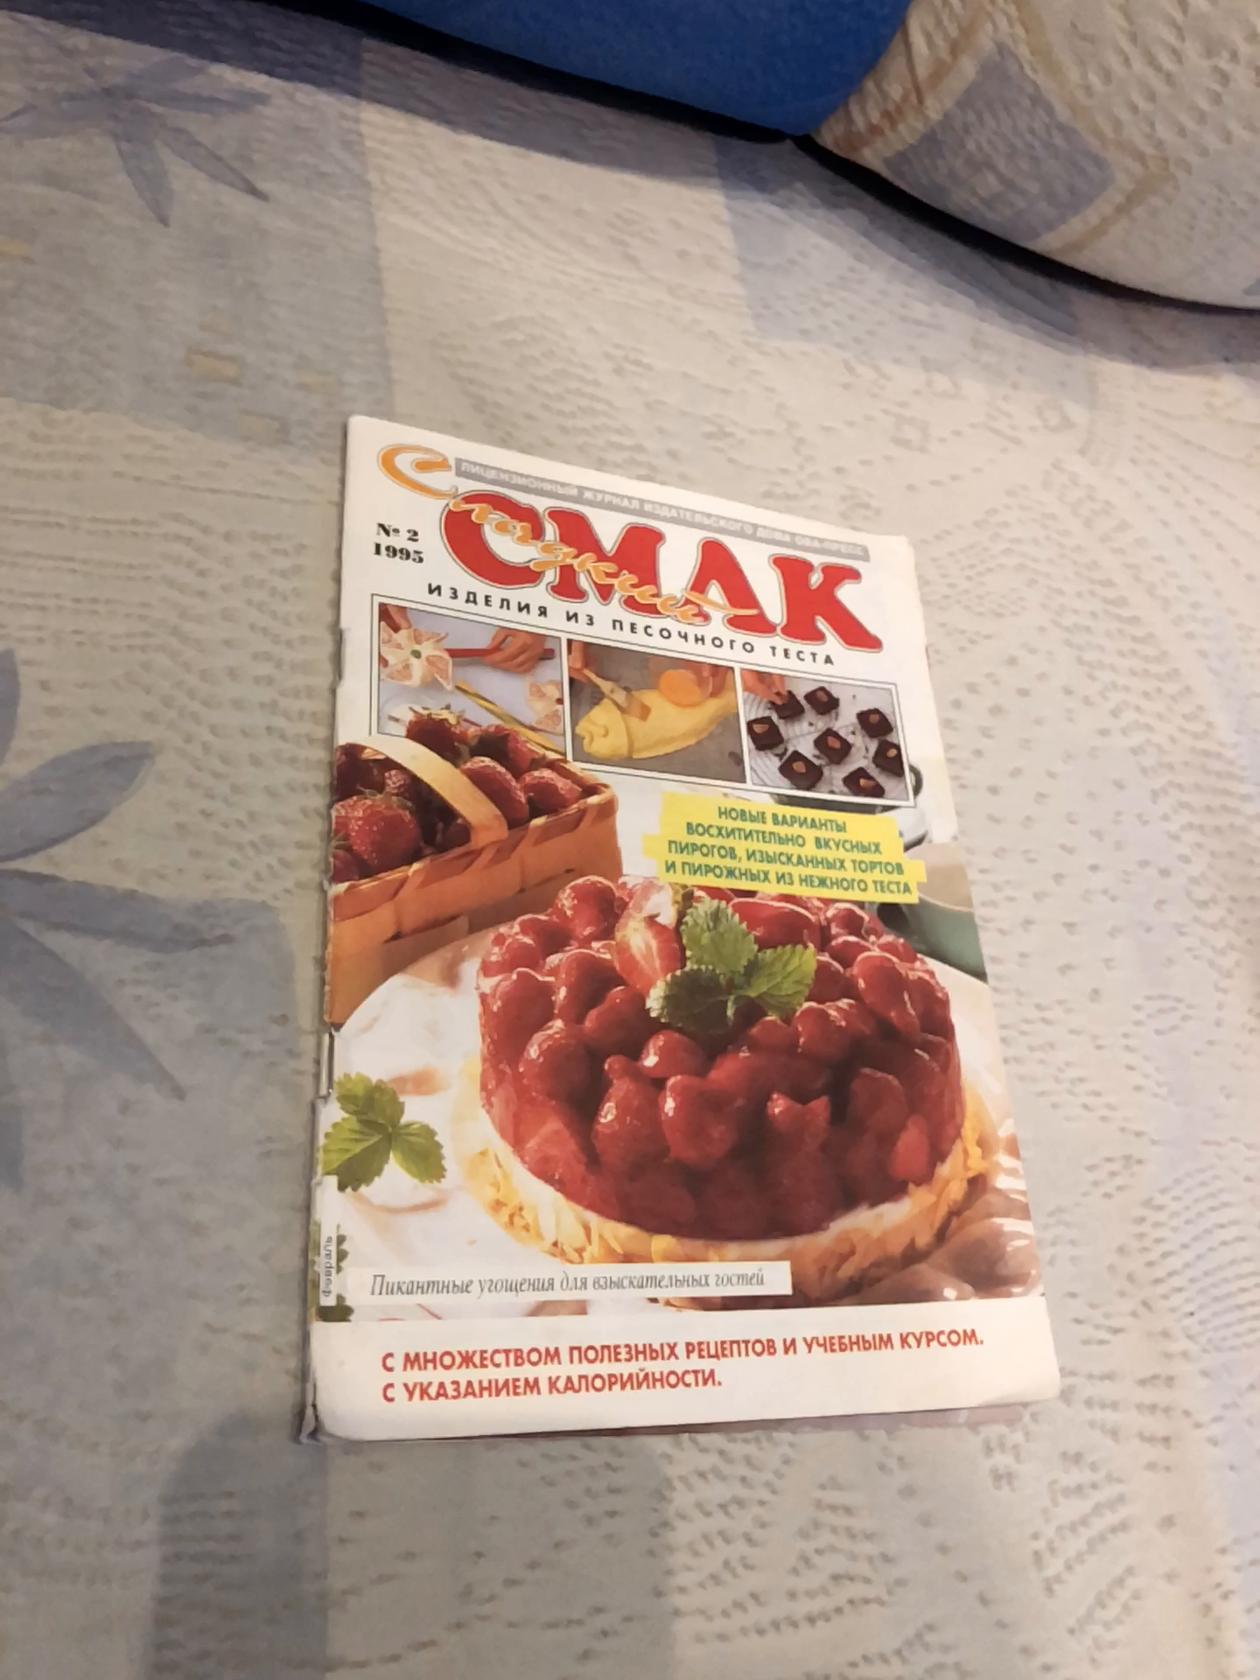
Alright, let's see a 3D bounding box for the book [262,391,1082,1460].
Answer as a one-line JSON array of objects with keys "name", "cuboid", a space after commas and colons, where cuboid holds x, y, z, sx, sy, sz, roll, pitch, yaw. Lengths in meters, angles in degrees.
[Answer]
[{"name": "book", "cuboid": [0.009, 0.012, 0.336, 0.178, 0.020, 0.241, 6, 65, -22]}]
